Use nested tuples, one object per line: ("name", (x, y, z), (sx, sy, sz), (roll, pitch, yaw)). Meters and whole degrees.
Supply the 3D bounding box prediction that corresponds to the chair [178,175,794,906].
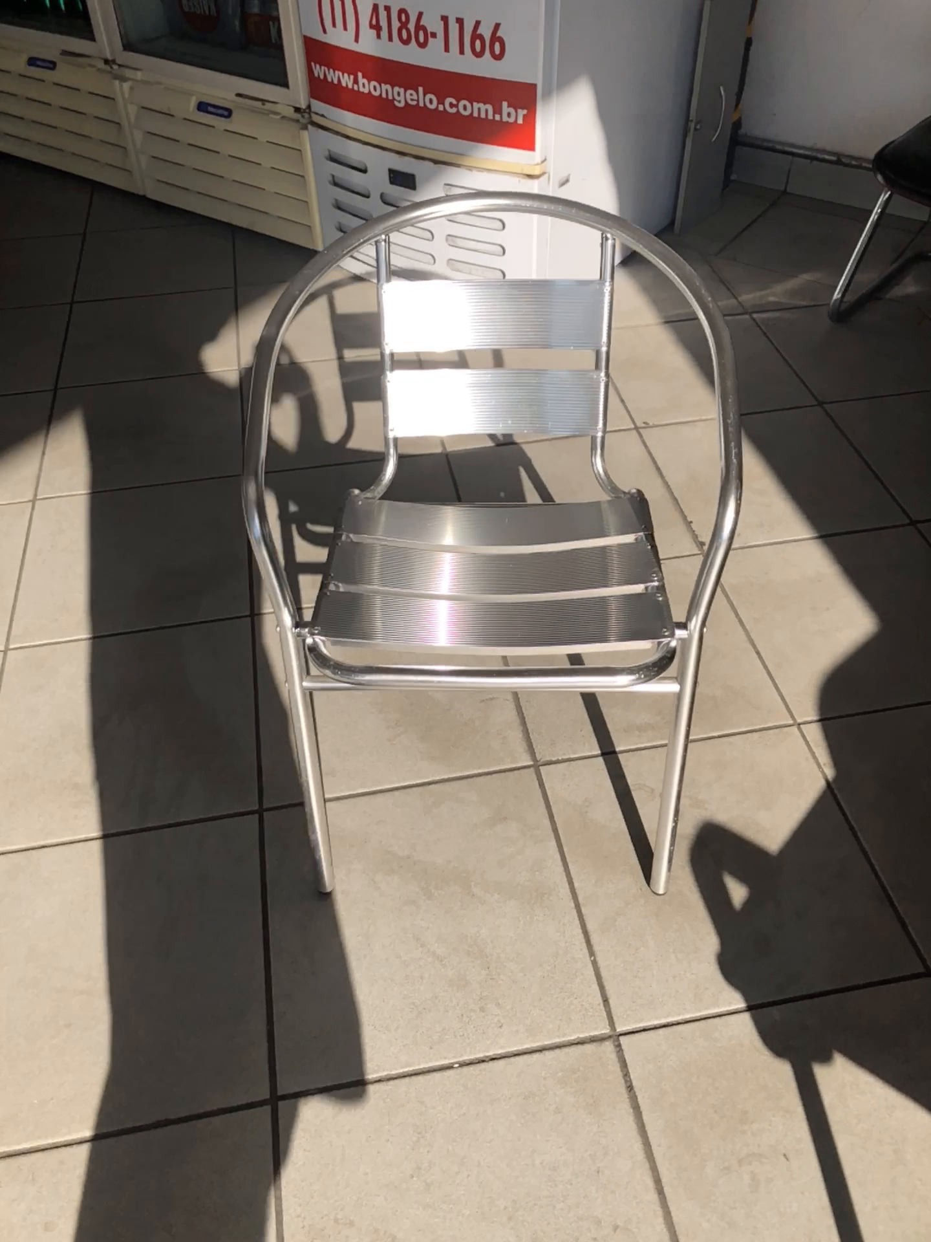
("chair", (0.028, -0.099, 1.335), (0.520, 0.705, 0.634), (0, 44, 1))
